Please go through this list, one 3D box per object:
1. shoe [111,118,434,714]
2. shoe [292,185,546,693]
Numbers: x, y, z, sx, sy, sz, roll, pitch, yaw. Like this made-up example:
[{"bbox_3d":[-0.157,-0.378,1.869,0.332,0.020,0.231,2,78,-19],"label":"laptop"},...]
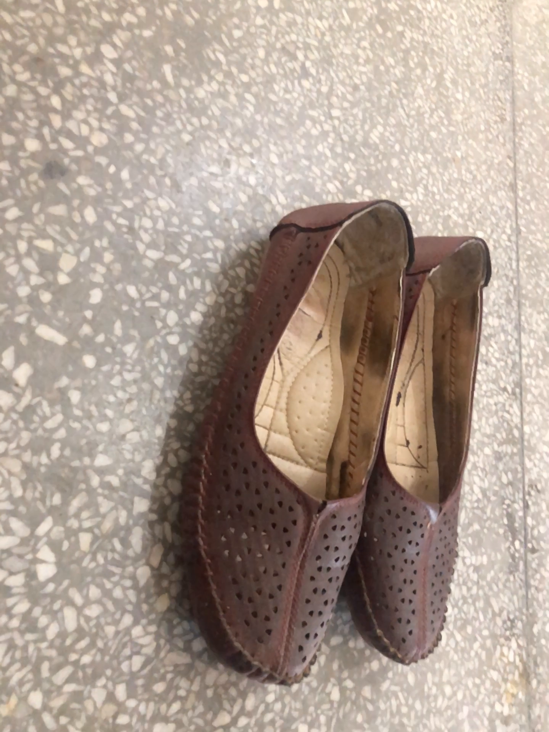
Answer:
[{"bbox_3d":[0.008,0.020,0.286,0.088,0.080,0.236,23,65,-33],"label":"shoe"},{"bbox_3d":[0.075,0.037,0.334,0.095,0.080,0.231,15,70,-36],"label":"shoe"}]
